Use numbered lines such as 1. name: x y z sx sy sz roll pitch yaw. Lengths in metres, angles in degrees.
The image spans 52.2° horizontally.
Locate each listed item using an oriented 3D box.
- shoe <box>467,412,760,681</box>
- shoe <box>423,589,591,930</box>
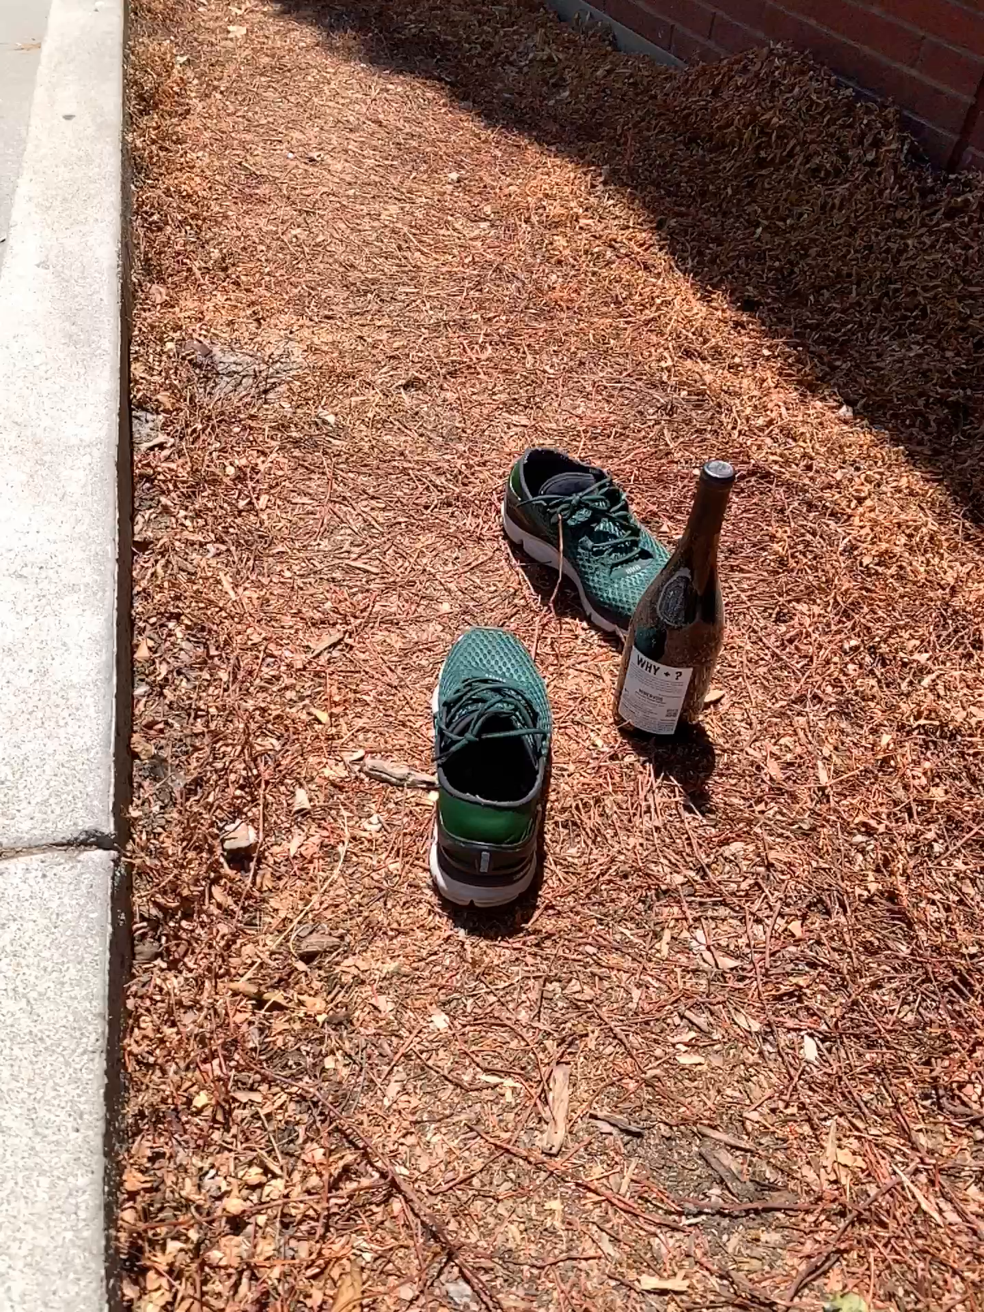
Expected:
1. shoe: 0.120 -0.127 1.081 0.130 0.100 0.301 -27 56 -28
2. shoe: 0.005 0.080 0.875 0.120 0.100 0.291 2 47 -5
